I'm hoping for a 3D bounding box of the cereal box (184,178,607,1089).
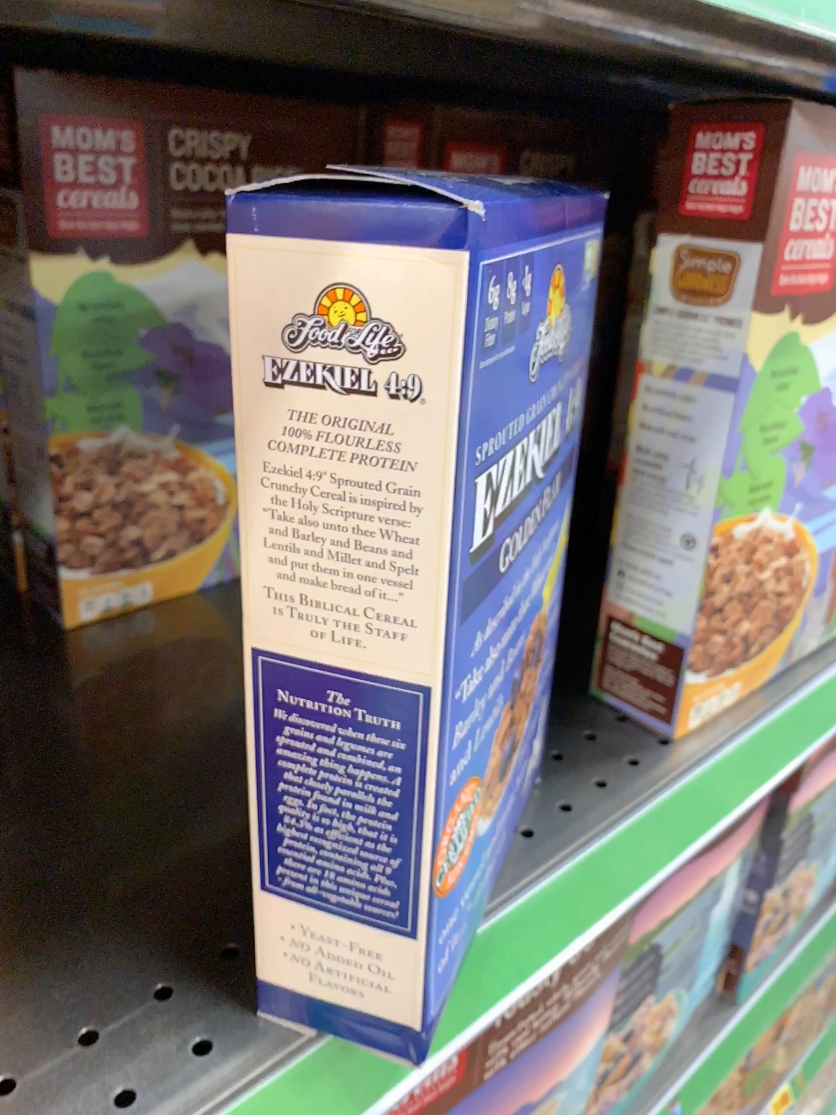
[{"bbox_3d":[0.004,0.011,0.292,0.060,0.249,0.161,10,25,19],"label":"cereal box"}]
